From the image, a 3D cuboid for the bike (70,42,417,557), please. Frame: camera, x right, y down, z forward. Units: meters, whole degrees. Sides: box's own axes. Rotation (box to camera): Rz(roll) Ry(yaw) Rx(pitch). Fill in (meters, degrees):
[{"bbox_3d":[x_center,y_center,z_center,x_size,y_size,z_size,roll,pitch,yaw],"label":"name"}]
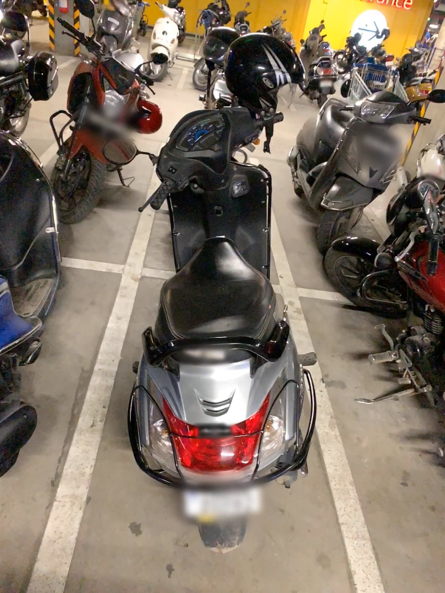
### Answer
[{"bbox_3d":[-0.089,-0.130,1.696,0.630,1.089,1.541,5,37,-9],"label":"bike"}]
